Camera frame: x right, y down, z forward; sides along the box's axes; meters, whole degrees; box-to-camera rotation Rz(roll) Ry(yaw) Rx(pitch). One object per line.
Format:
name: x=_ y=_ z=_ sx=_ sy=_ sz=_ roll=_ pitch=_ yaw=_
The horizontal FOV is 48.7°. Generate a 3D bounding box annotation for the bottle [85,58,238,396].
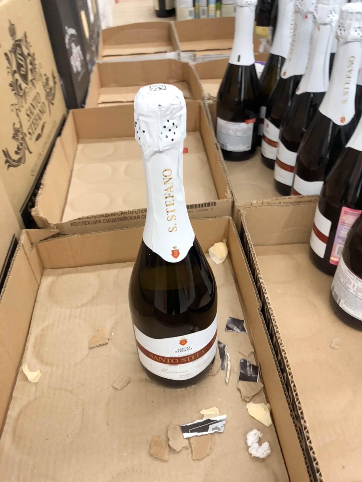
bottle: x=-0.012 y=0.011 z=0.369 sx=0.090 sy=0.308 sz=0.090 roll=-2 pitch=39 yaw=2
